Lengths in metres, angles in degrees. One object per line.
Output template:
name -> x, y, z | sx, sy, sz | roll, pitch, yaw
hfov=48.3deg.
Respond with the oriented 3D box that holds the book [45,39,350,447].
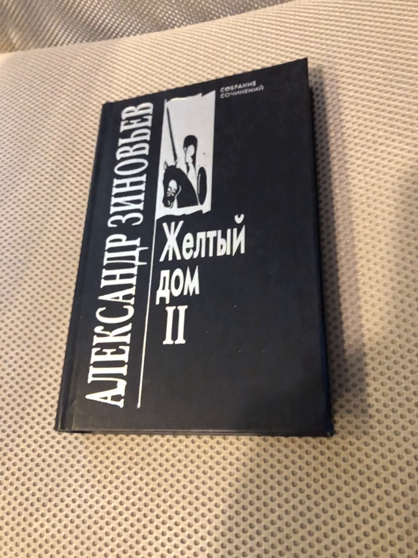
book -> -0.005, -0.023, 0.254 | 0.140, 0.030, 0.211 | -5, 68, 18
